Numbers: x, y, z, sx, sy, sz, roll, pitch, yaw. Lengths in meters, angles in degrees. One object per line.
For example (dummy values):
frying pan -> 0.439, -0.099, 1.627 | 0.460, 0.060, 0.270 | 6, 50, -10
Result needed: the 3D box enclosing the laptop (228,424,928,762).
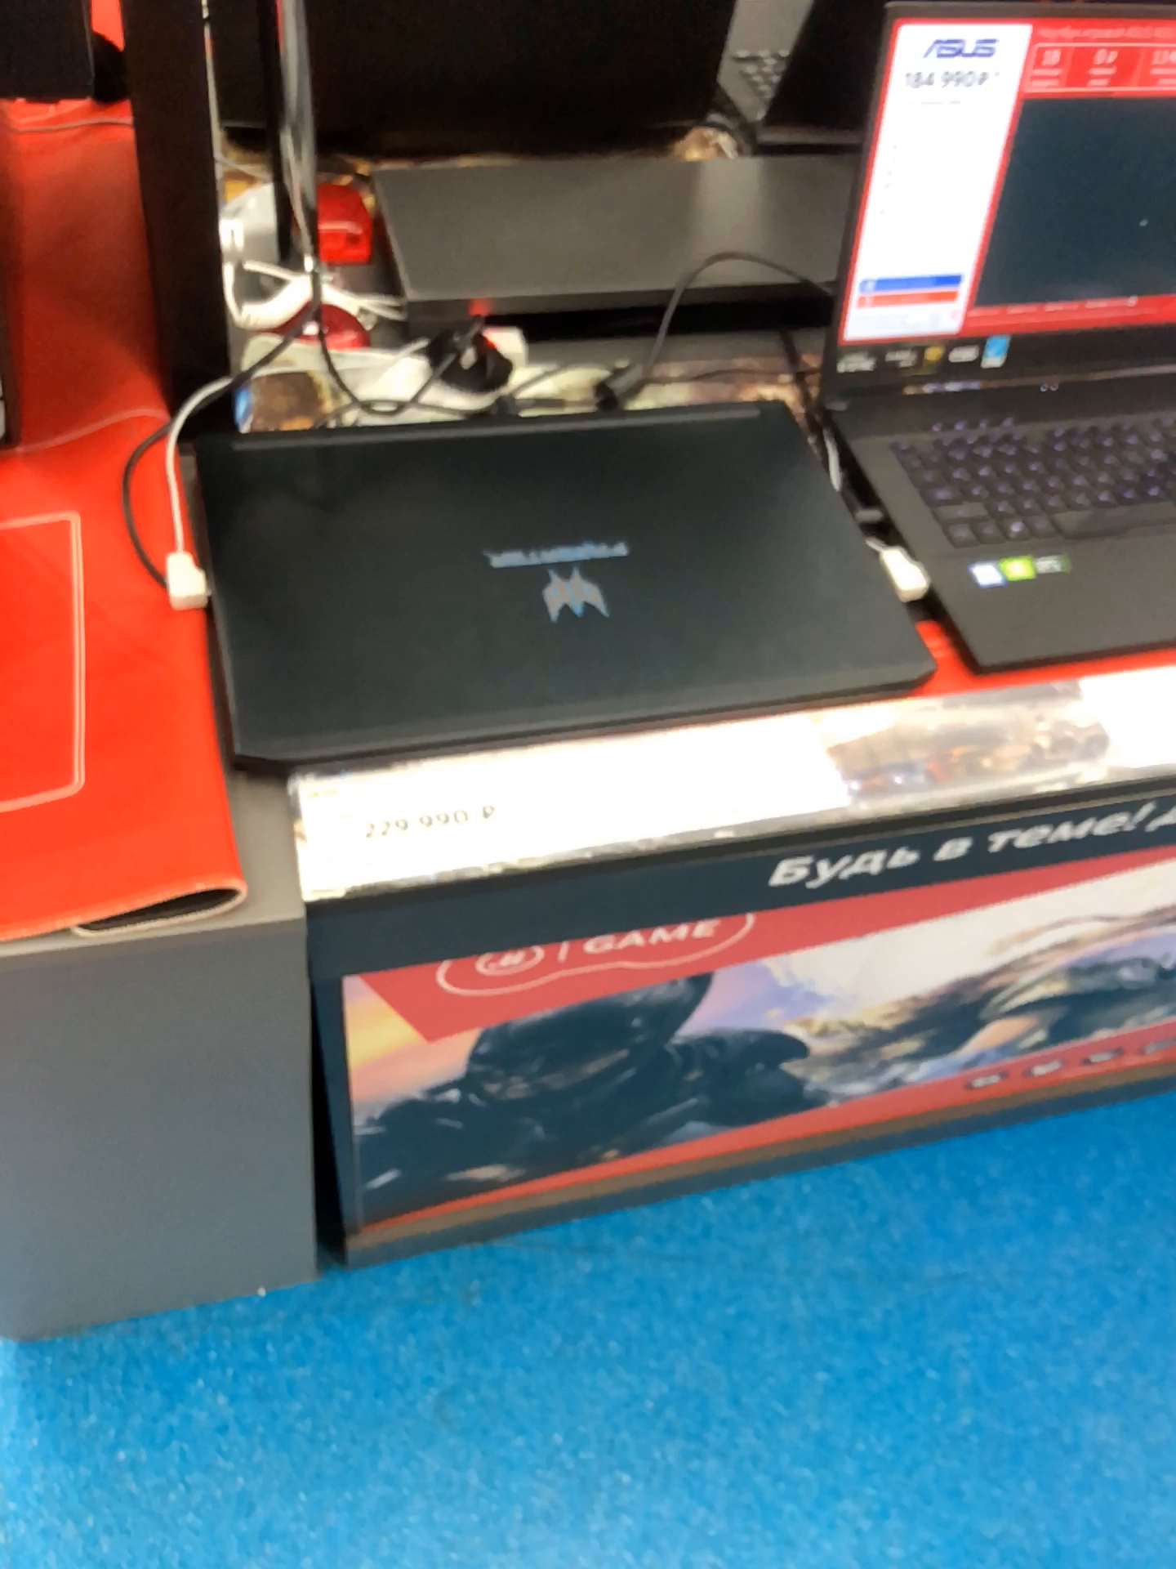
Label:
laptop -> -0.011, -0.122, 0.737 | 0.354, 0.006, 0.222 | -8, 53, -14
